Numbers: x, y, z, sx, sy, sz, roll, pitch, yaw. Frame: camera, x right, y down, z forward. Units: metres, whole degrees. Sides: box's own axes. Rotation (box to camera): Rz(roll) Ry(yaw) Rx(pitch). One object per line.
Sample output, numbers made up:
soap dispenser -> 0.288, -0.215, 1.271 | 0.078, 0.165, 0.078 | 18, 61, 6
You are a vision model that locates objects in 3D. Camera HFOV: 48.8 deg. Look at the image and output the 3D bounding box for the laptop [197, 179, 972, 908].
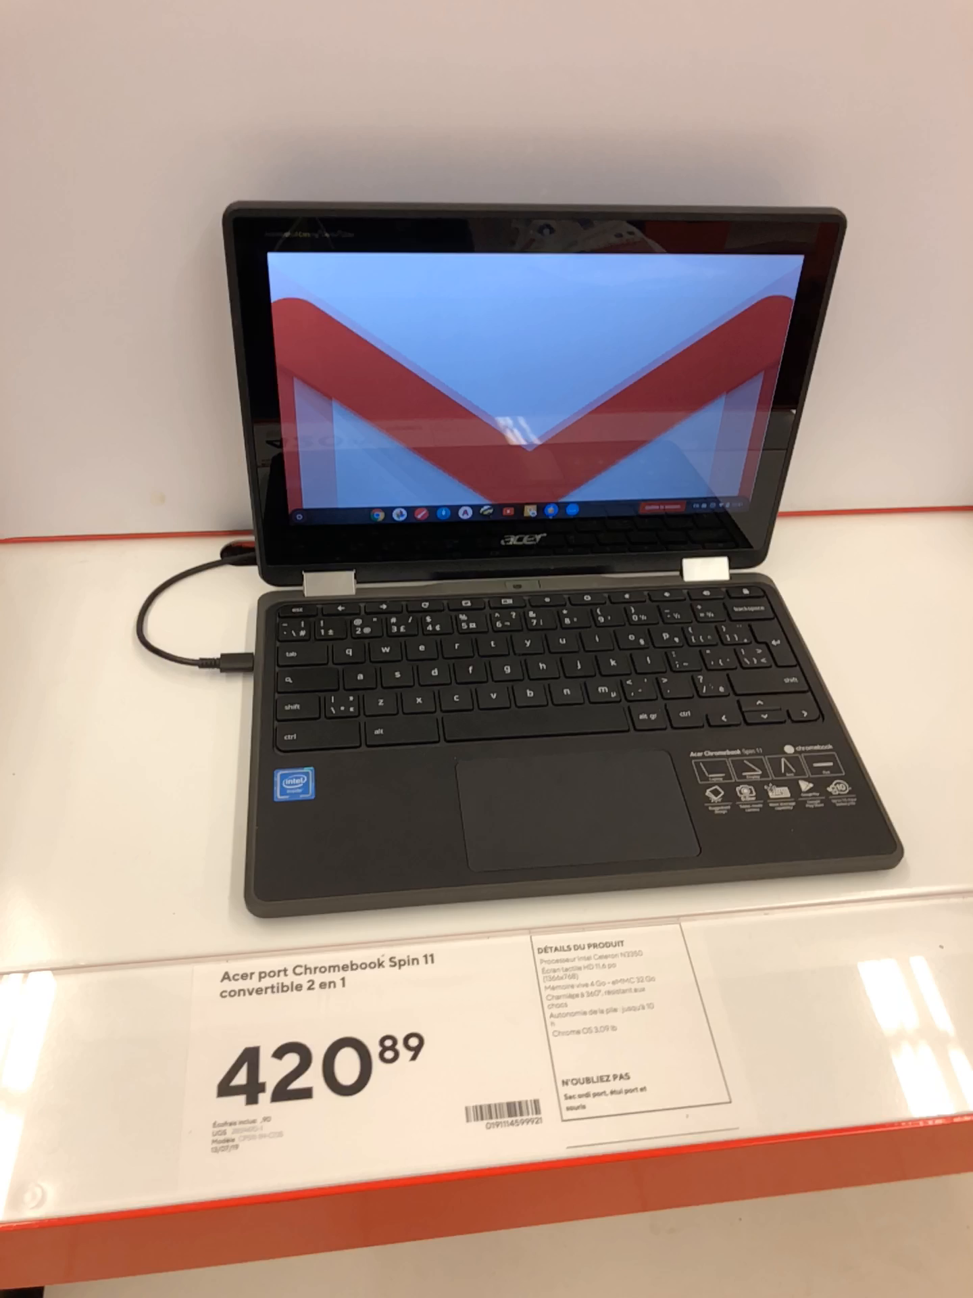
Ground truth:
laptop -> 0.032, -0.059, 0.494 | 0.289, 0.198, 0.253 | -3, 47, -8
